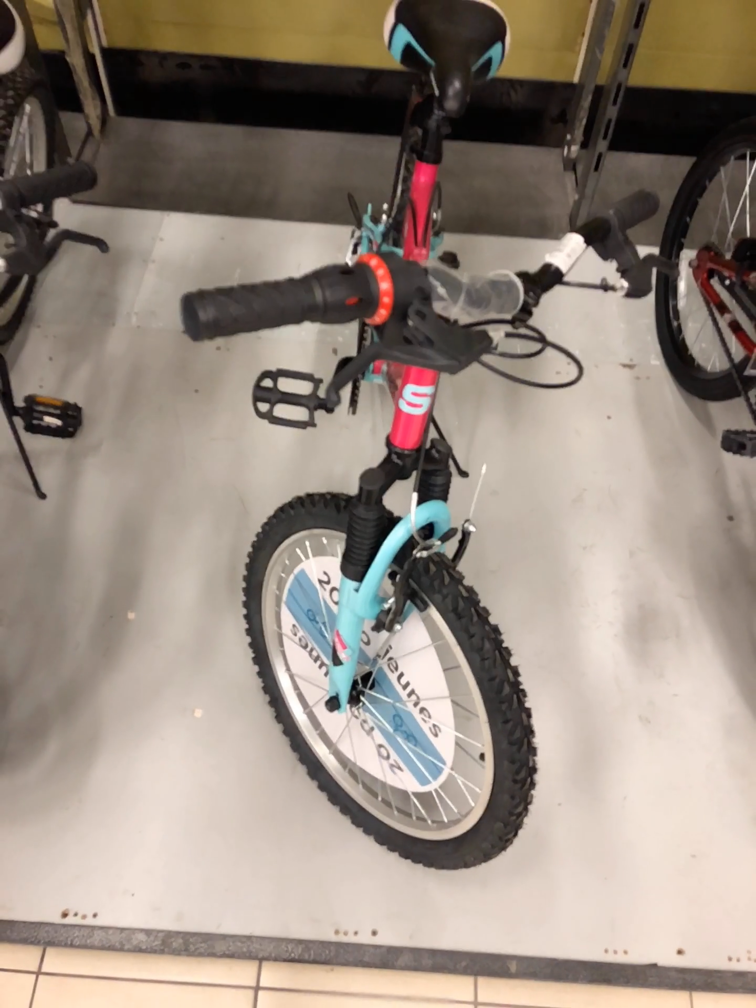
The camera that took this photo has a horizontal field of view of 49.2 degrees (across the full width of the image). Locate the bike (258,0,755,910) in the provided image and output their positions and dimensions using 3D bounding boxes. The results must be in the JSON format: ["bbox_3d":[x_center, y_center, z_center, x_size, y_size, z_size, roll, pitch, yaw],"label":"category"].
[{"bbox_3d":[0.154,-0.202,1.109,0.562,0.765,1.219,-2,59,-4],"label":"bike"}]
